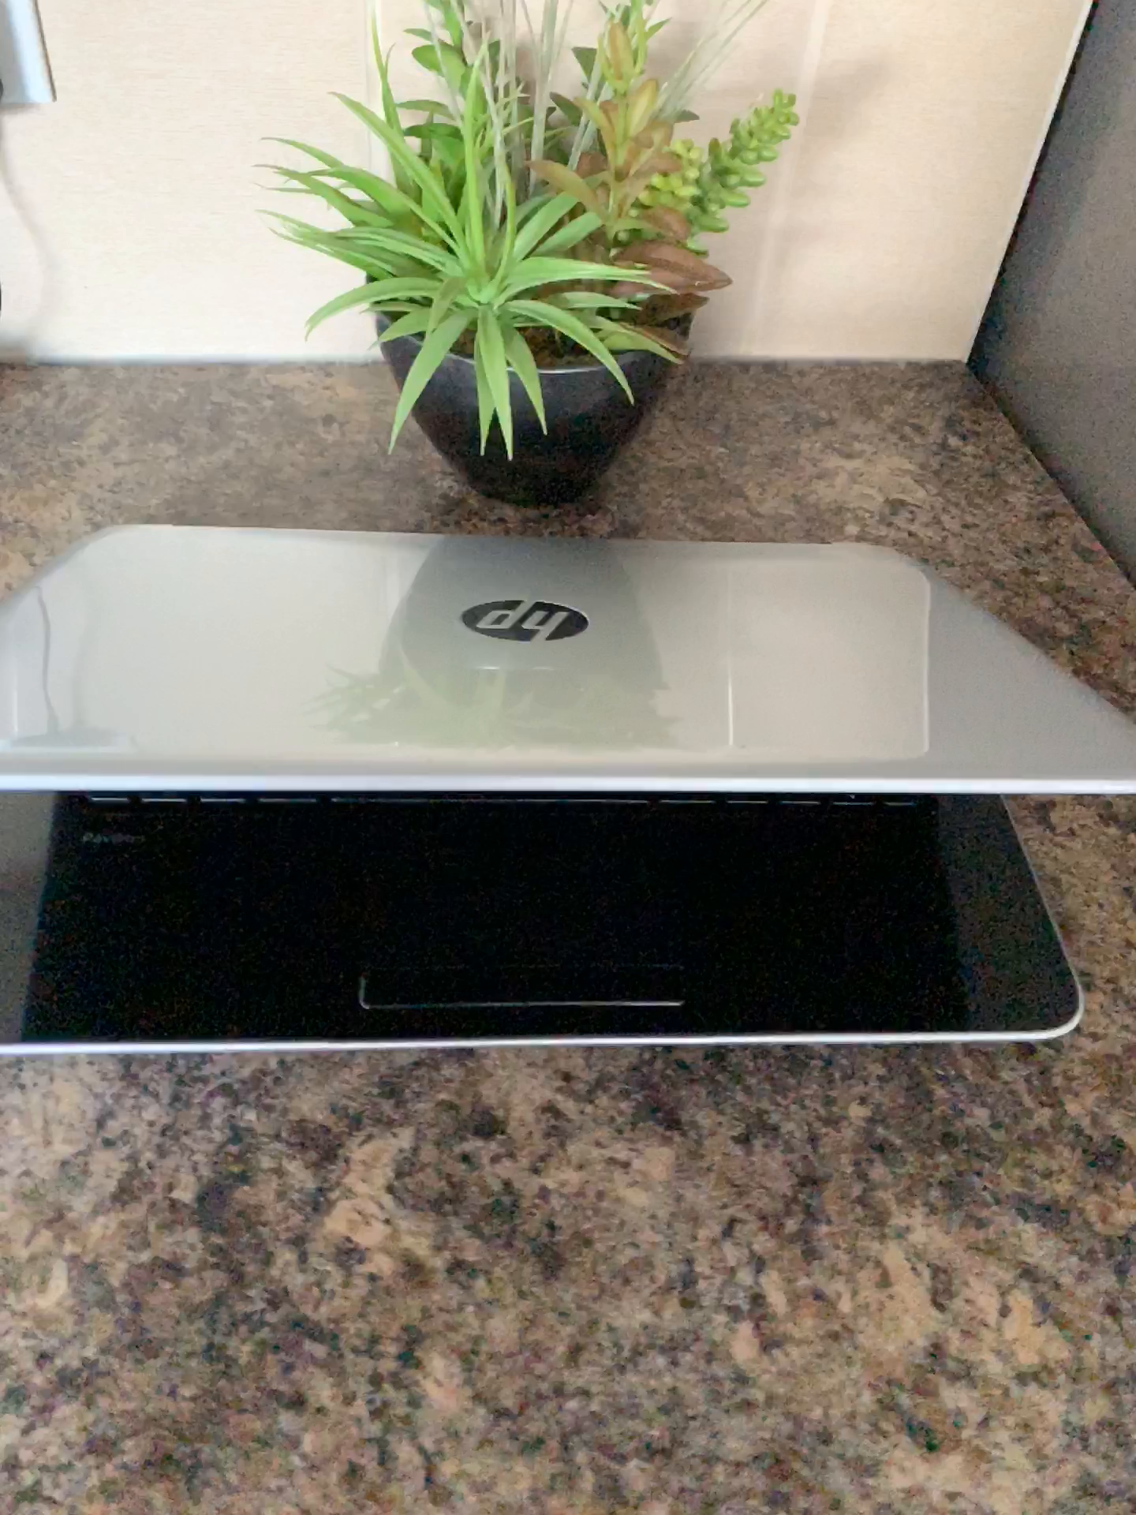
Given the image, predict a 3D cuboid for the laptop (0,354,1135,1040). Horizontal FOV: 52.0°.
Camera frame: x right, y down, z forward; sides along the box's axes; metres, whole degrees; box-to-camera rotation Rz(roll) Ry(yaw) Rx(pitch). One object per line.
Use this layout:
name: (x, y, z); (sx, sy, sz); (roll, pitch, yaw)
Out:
laptop: (-0.015, -0.031, 0.369); (0.328, 0.081, 0.208); (0, 48, -6)
